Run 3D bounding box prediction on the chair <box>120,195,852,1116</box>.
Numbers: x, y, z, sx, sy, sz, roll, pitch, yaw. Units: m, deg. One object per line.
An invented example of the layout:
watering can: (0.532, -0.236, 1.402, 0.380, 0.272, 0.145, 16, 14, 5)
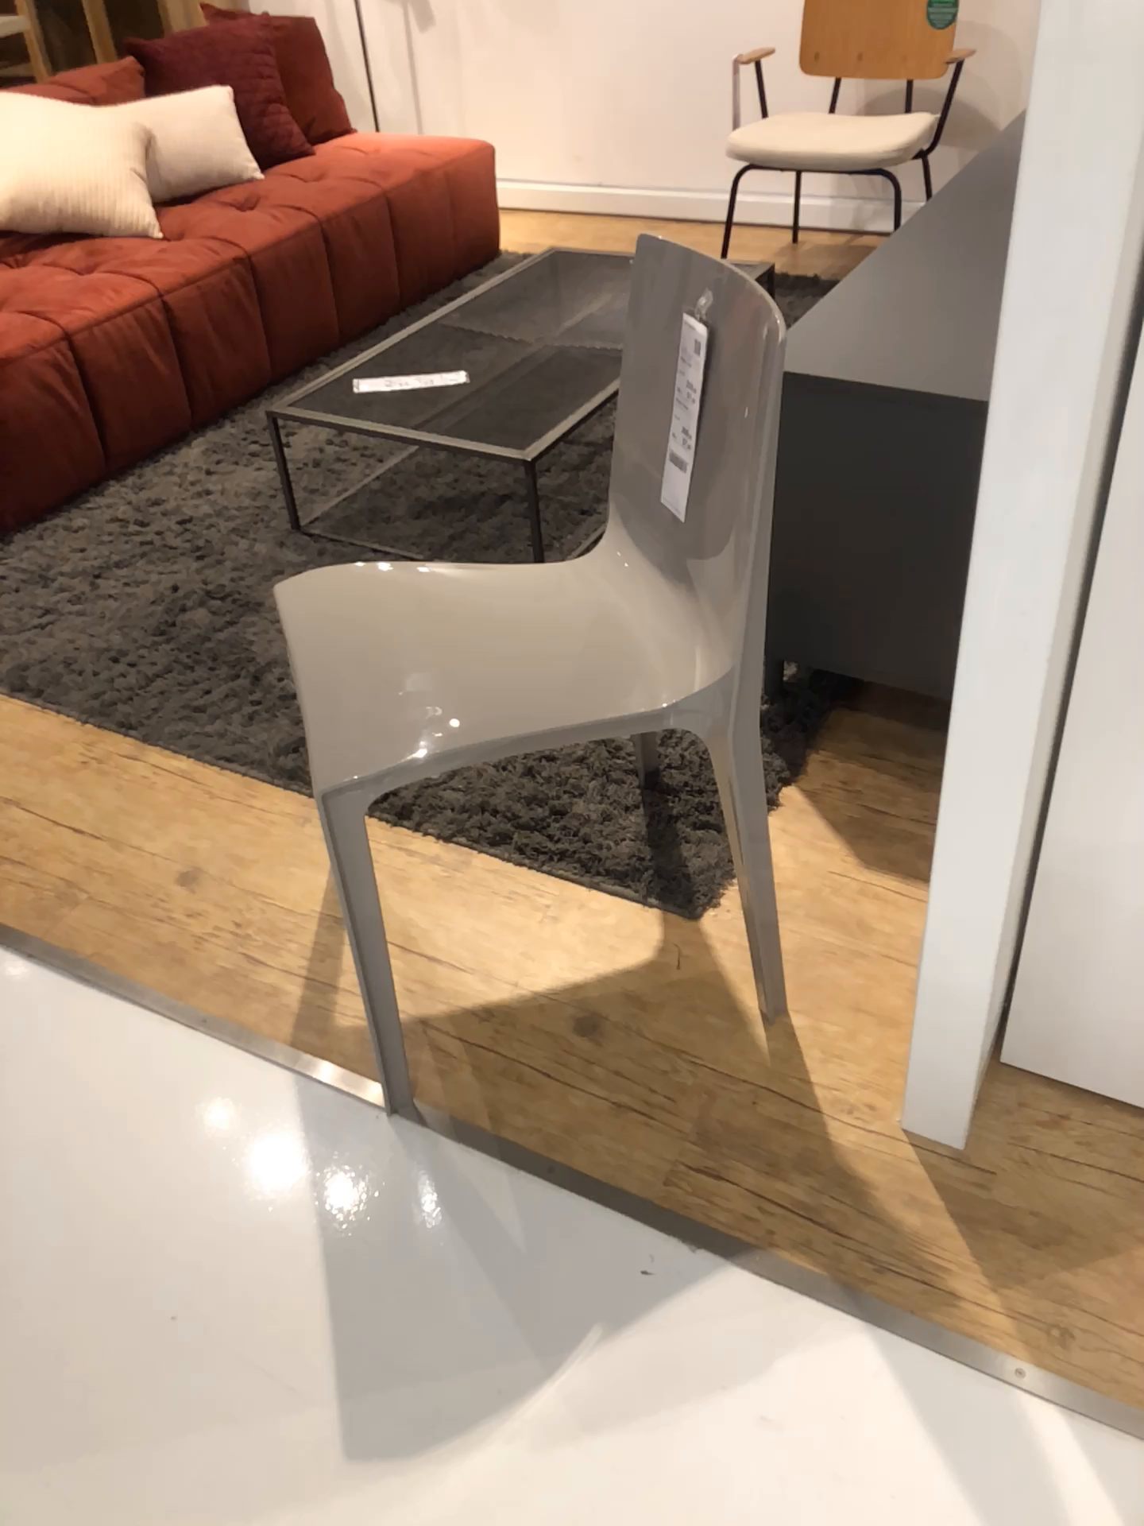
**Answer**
chair: (-0.082, -0.125, 1.375, 0.560, 0.754, 0.524, -11, 37, -8)
